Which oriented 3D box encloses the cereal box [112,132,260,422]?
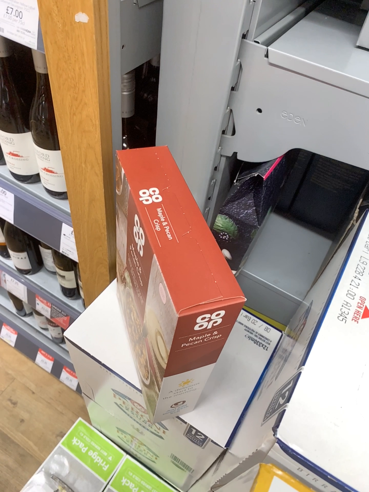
[{"bbox_3d":[-0.024,0.044,0.393,0.060,0.248,0.181,-11,53,-18],"label":"cereal box"}]
